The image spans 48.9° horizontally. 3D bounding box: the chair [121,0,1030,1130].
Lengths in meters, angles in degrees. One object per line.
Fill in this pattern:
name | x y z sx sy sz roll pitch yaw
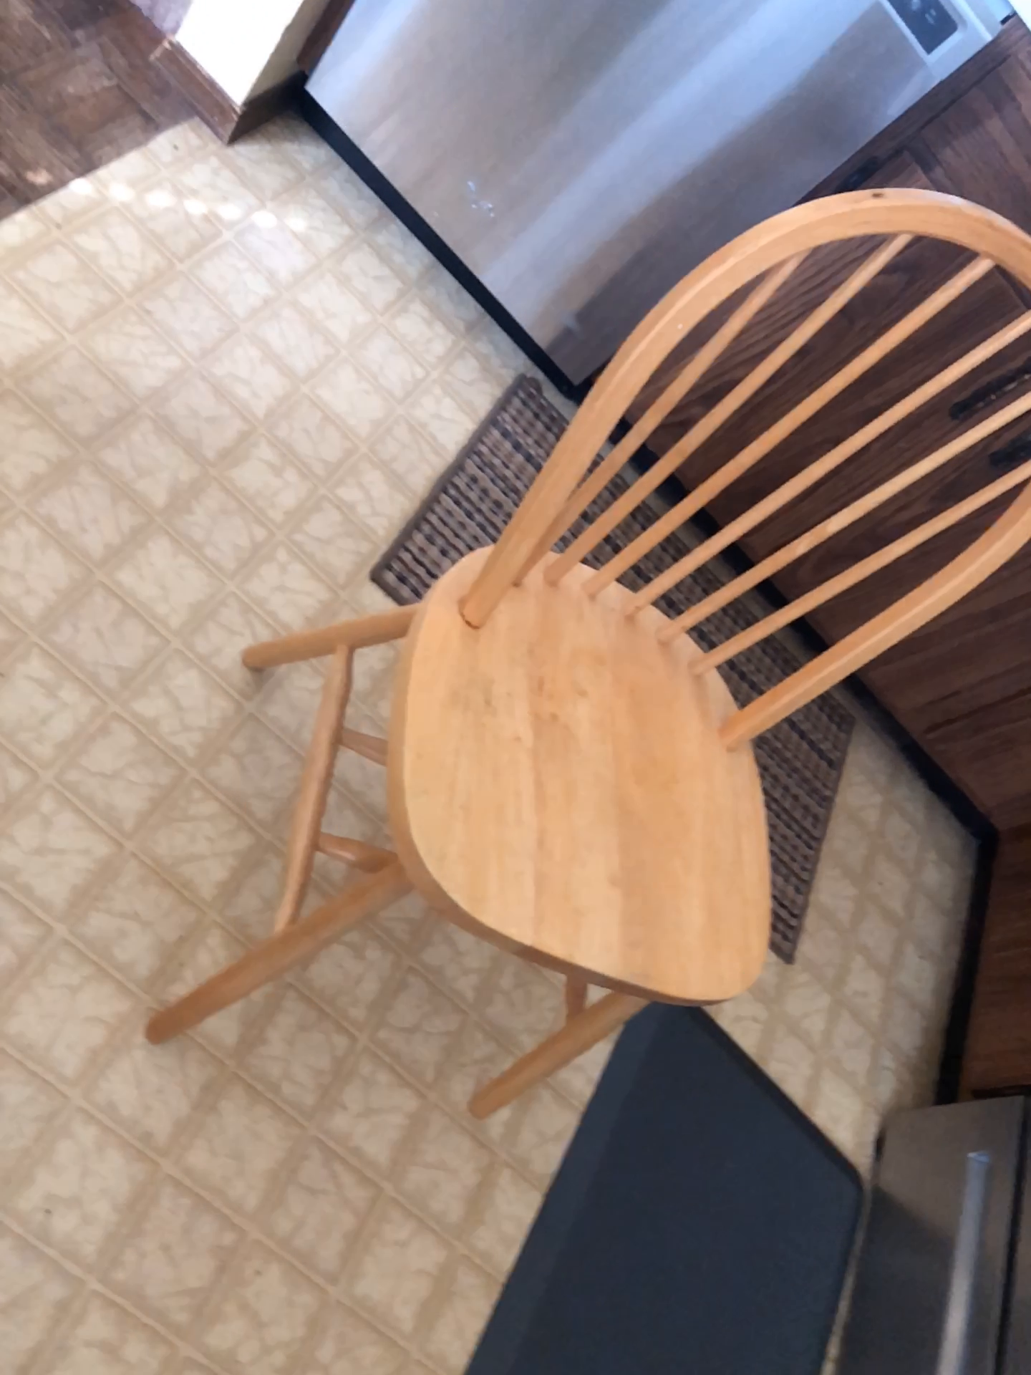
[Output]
chair | 0.101 0.019 1.020 0.462 0.897 0.560 25 54 -29
